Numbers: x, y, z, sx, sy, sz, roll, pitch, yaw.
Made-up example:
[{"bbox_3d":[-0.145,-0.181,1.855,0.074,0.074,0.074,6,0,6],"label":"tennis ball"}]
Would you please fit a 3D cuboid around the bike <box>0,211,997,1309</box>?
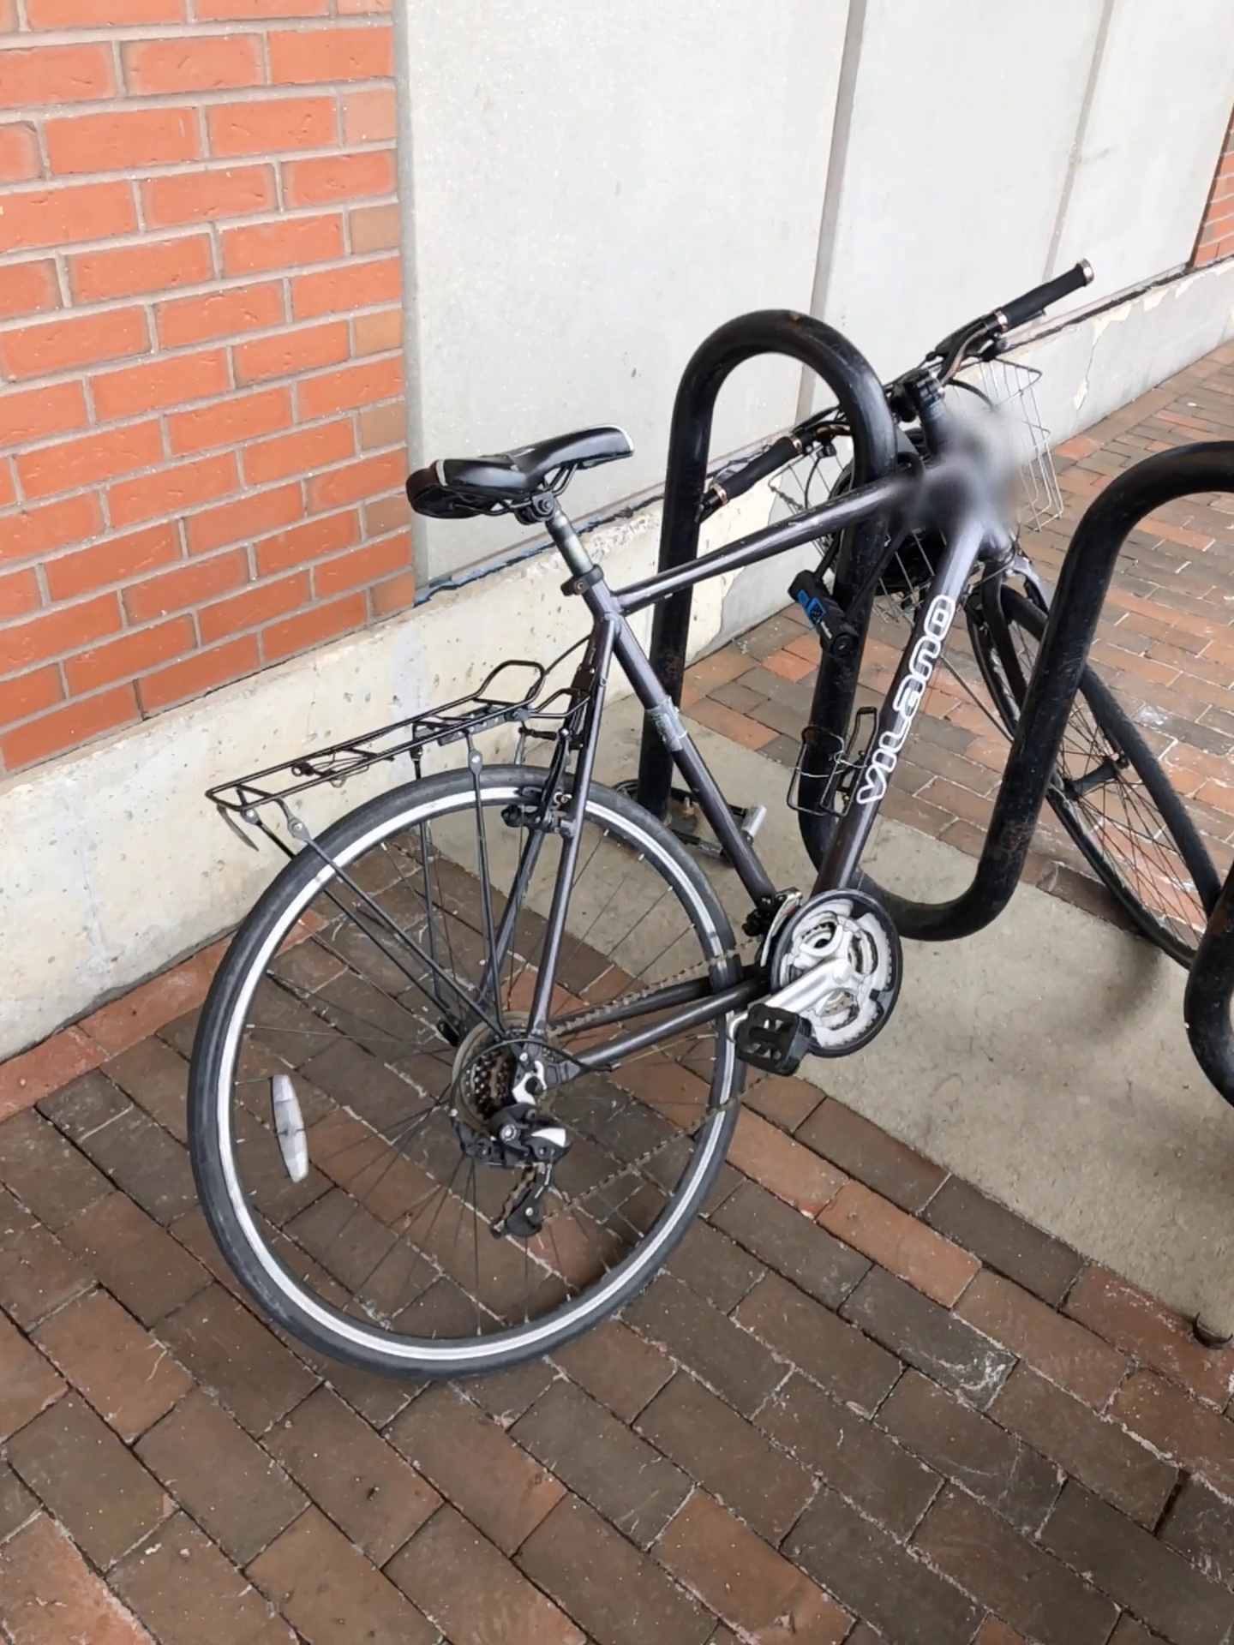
[{"bbox_3d":[-0.179,-0.281,1.836,0.744,0.734,1.421,29,42,30],"label":"bike"}]
